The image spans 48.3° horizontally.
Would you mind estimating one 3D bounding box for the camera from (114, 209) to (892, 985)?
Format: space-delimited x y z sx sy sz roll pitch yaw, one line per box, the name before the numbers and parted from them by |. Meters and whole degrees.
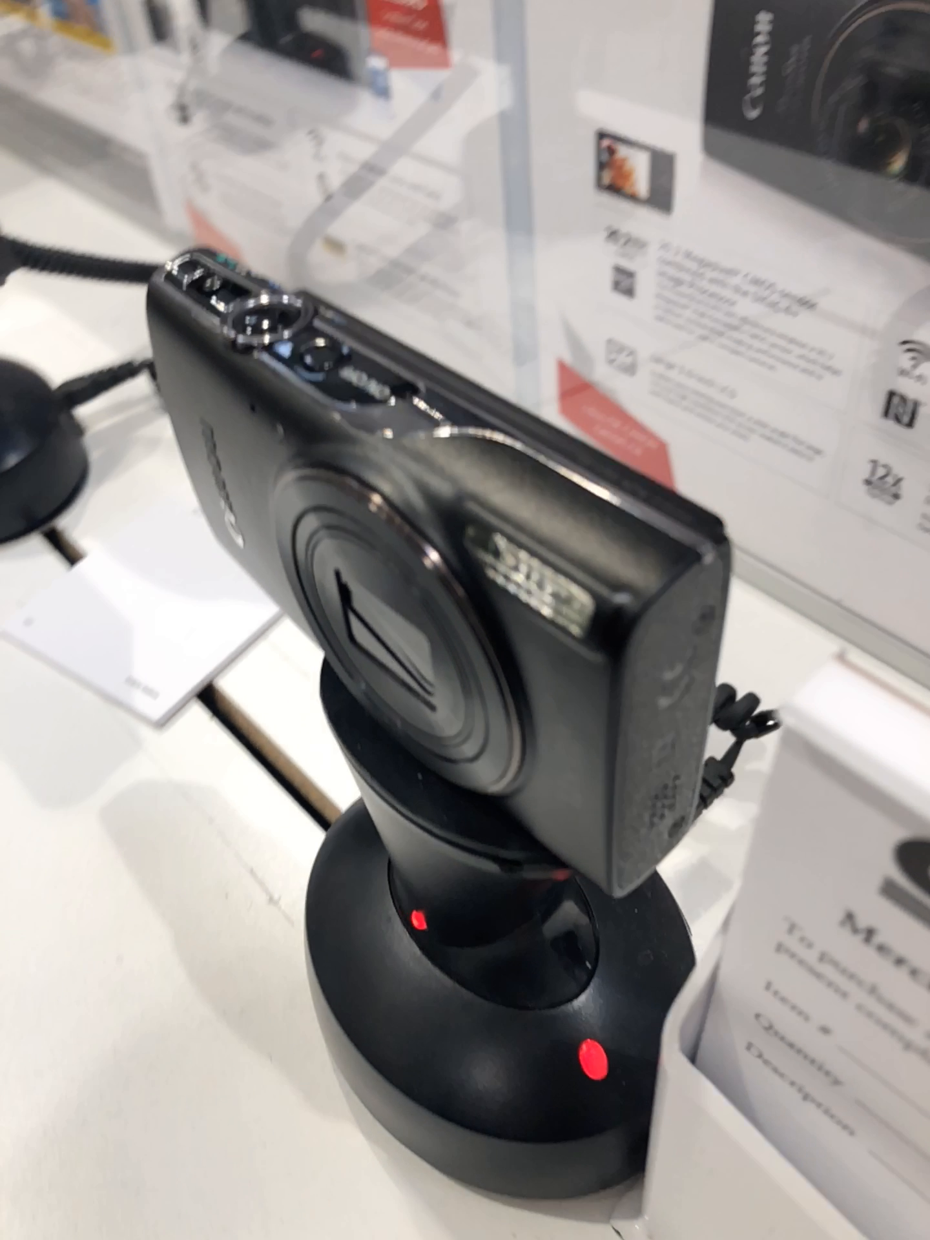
camera | -0.002 -0.010 0.150 0.030 0.060 0.111 -34 51 -25
